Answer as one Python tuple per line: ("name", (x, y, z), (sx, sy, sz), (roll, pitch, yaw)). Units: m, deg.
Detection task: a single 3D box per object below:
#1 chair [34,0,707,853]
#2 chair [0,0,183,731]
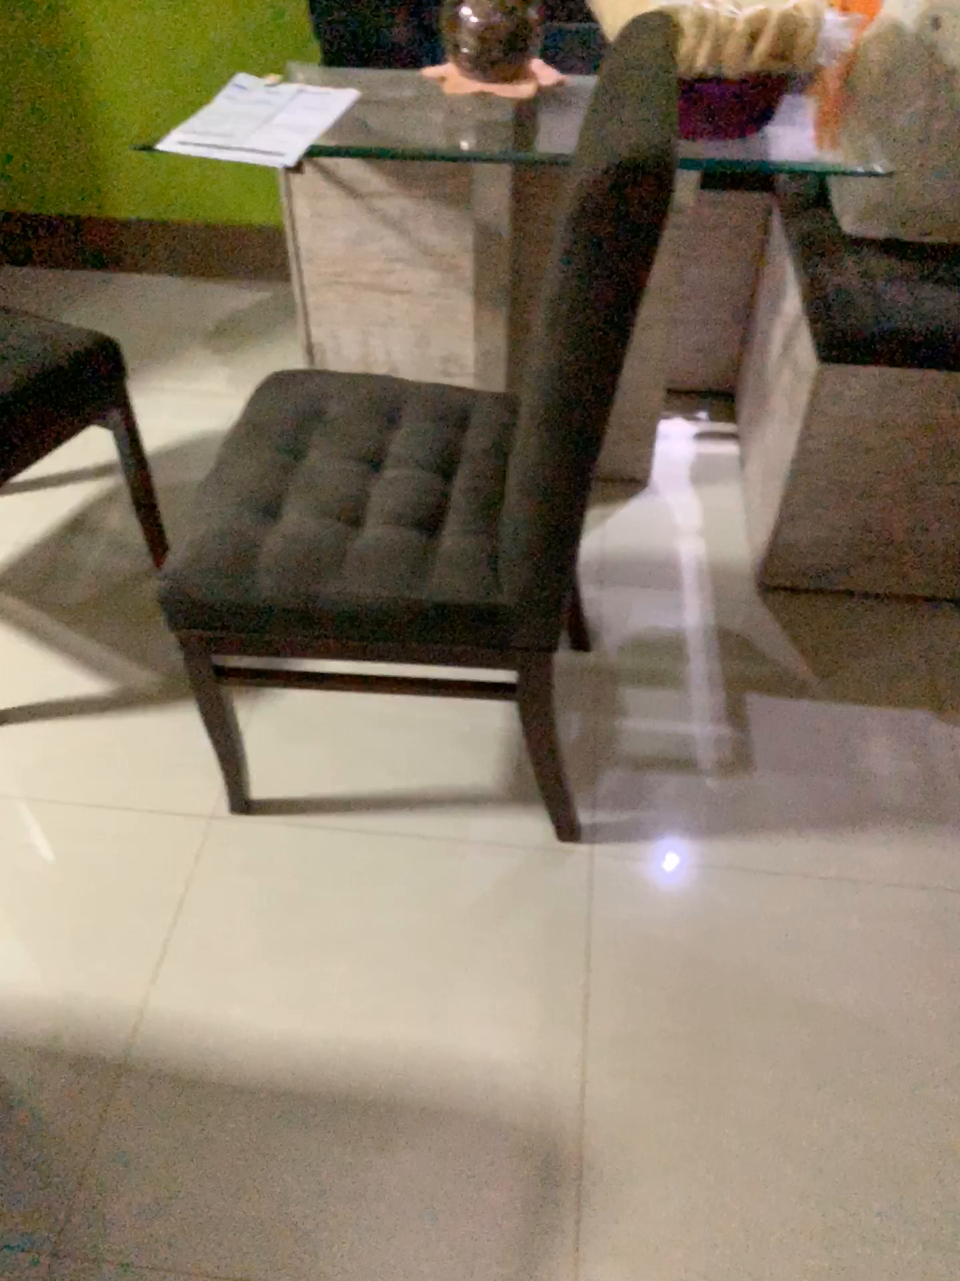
("chair", (-0.069, -0.235, 1.353), (0.570, 0.971, 0.525), (5, 45, 5))
("chair", (-0.951, -0.446, 1.547), (0.571, 0.981, 0.494), (21, 49, 19))
